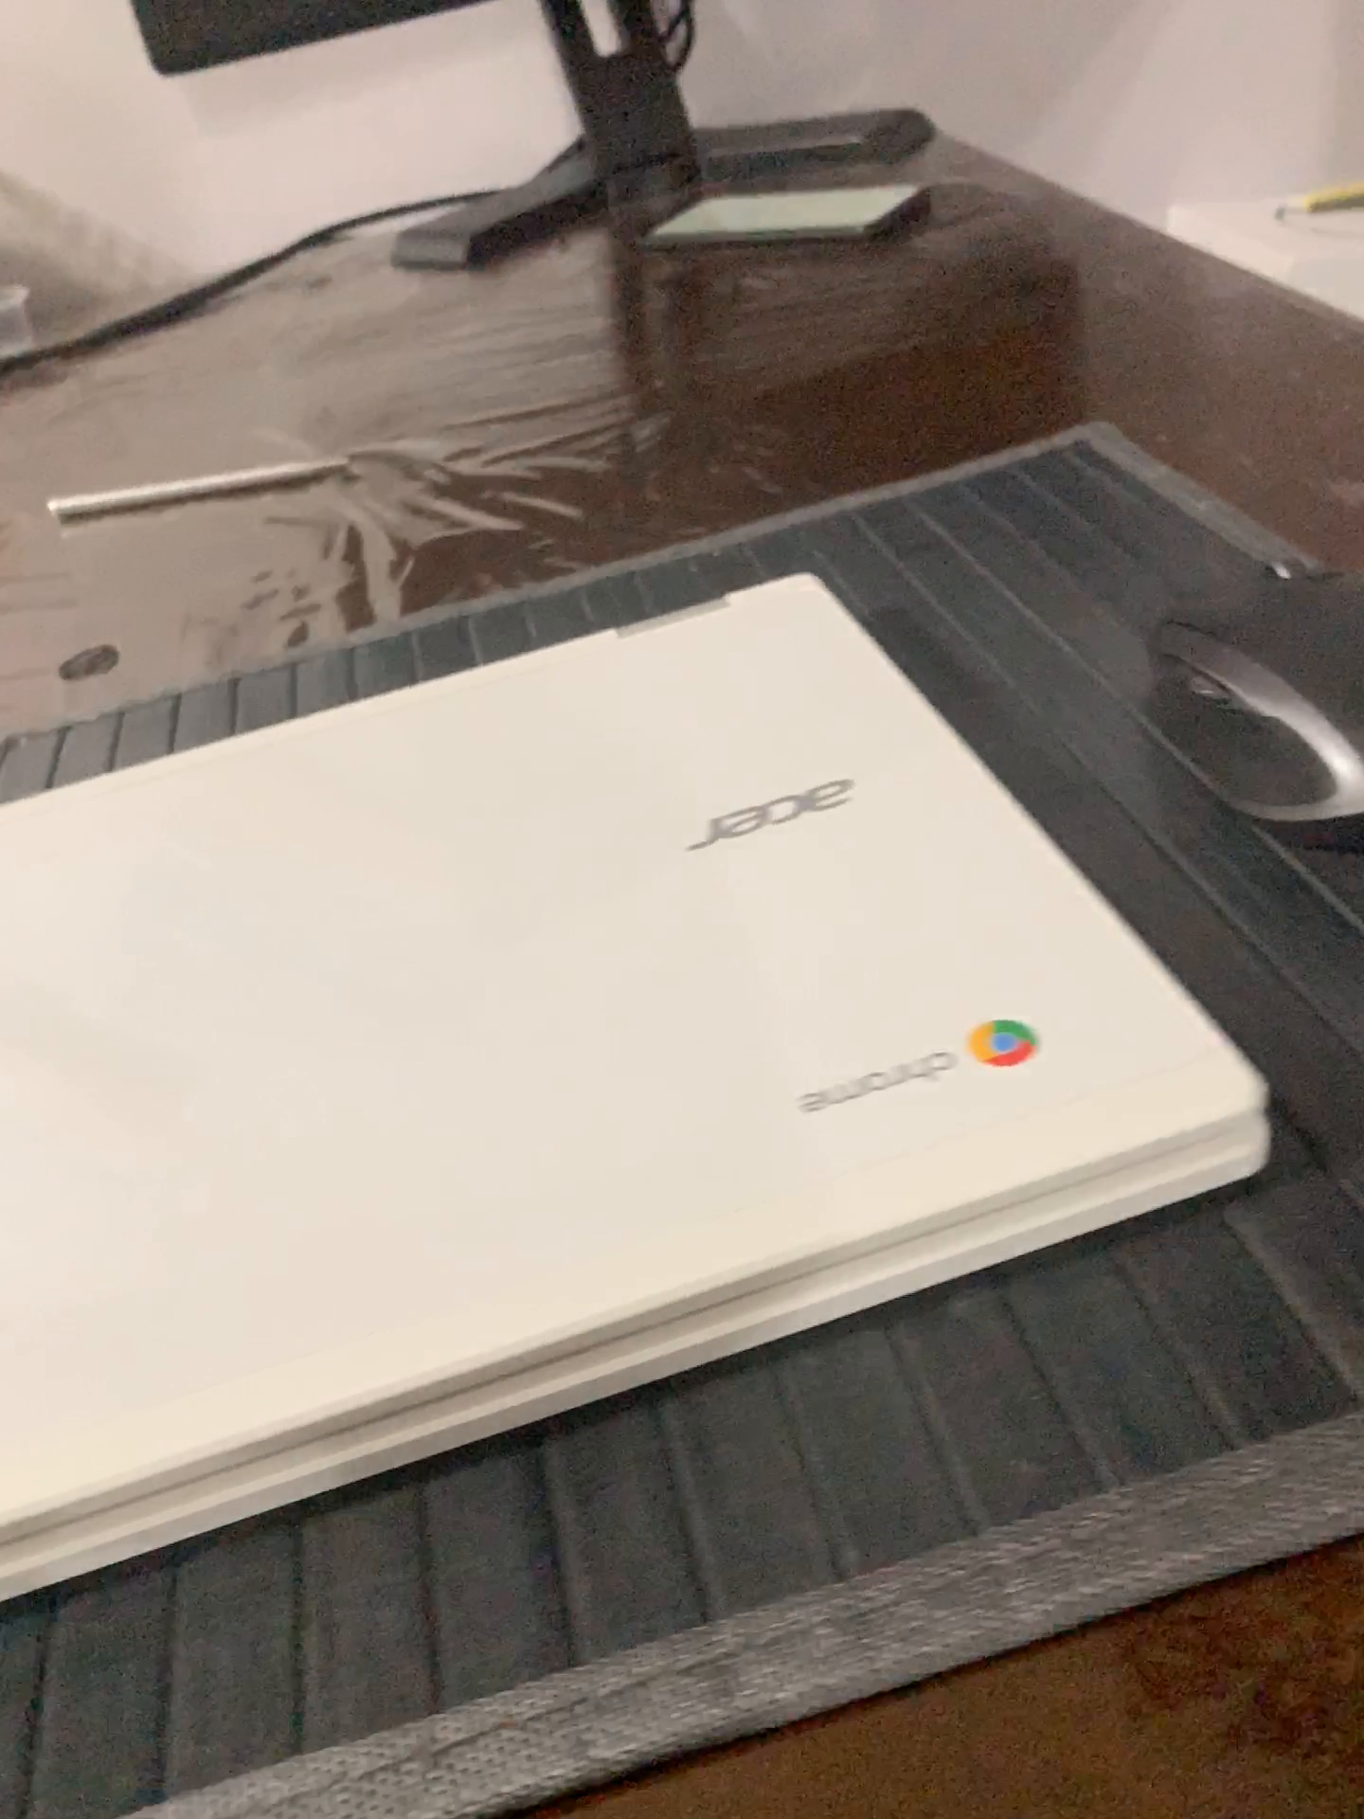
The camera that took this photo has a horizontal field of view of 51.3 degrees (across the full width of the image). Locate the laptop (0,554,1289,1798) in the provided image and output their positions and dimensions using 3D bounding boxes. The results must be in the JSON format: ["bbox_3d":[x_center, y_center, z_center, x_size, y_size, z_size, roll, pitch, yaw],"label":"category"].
[{"bbox_3d":[-0.077,0.011,0.257,0.278,0.002,0.196,-18,36,-4],"label":"laptop"}]
